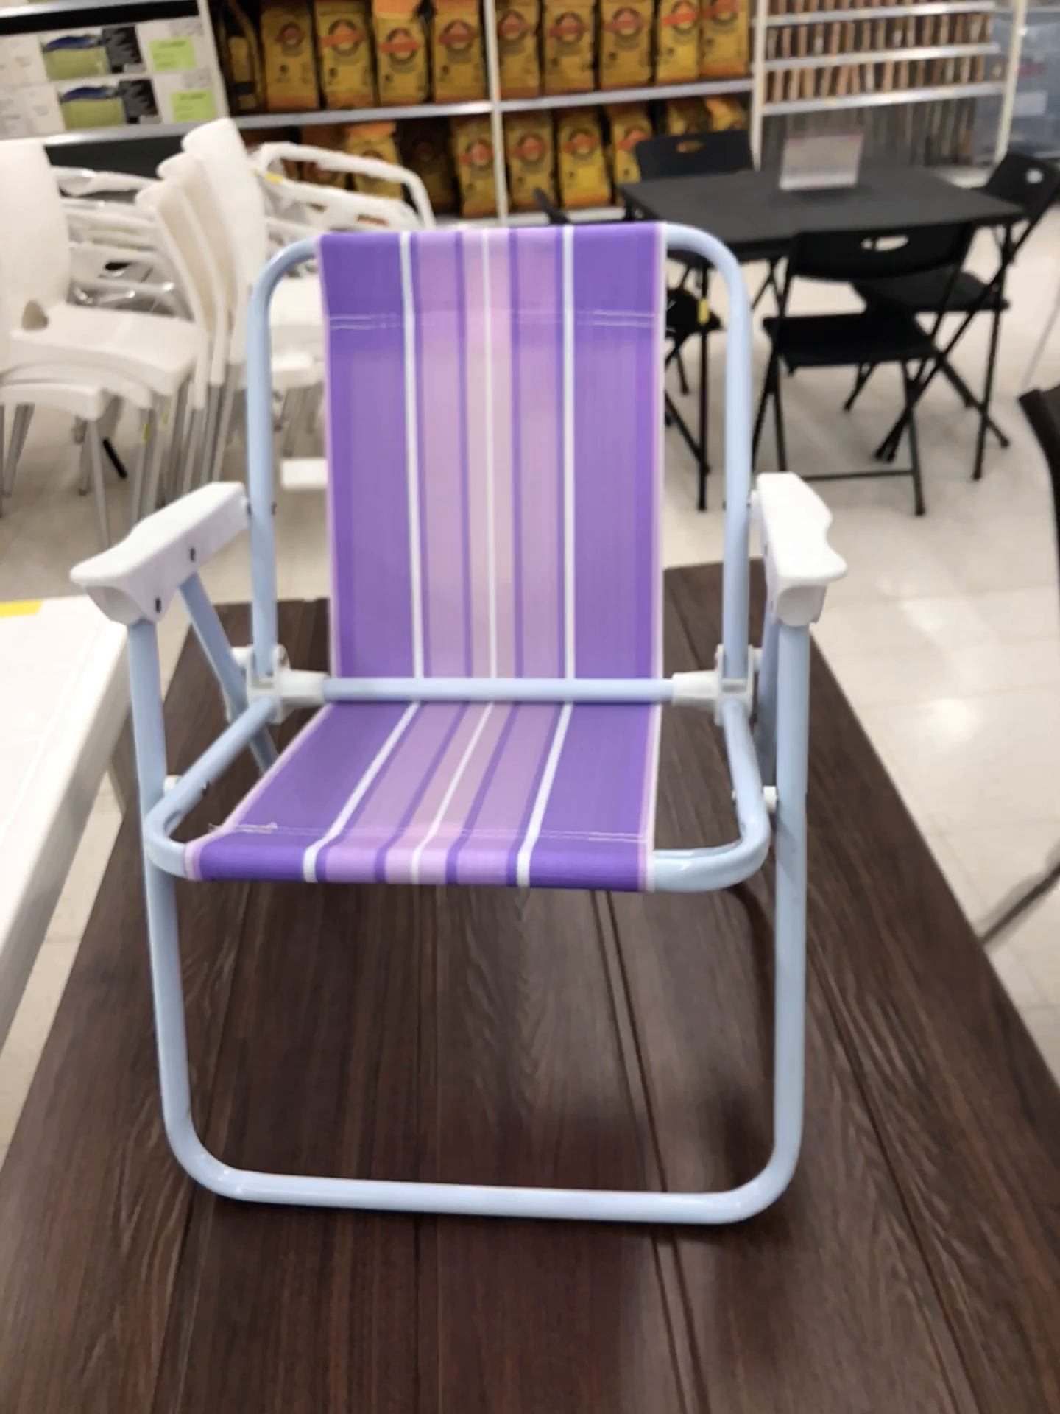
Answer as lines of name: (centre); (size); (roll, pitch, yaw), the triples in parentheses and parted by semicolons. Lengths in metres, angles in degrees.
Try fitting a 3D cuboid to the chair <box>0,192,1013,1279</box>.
chair: (-0.035, -0.006, 0.655); (0.420, 0.437, 0.393); (0, 33, 6)
